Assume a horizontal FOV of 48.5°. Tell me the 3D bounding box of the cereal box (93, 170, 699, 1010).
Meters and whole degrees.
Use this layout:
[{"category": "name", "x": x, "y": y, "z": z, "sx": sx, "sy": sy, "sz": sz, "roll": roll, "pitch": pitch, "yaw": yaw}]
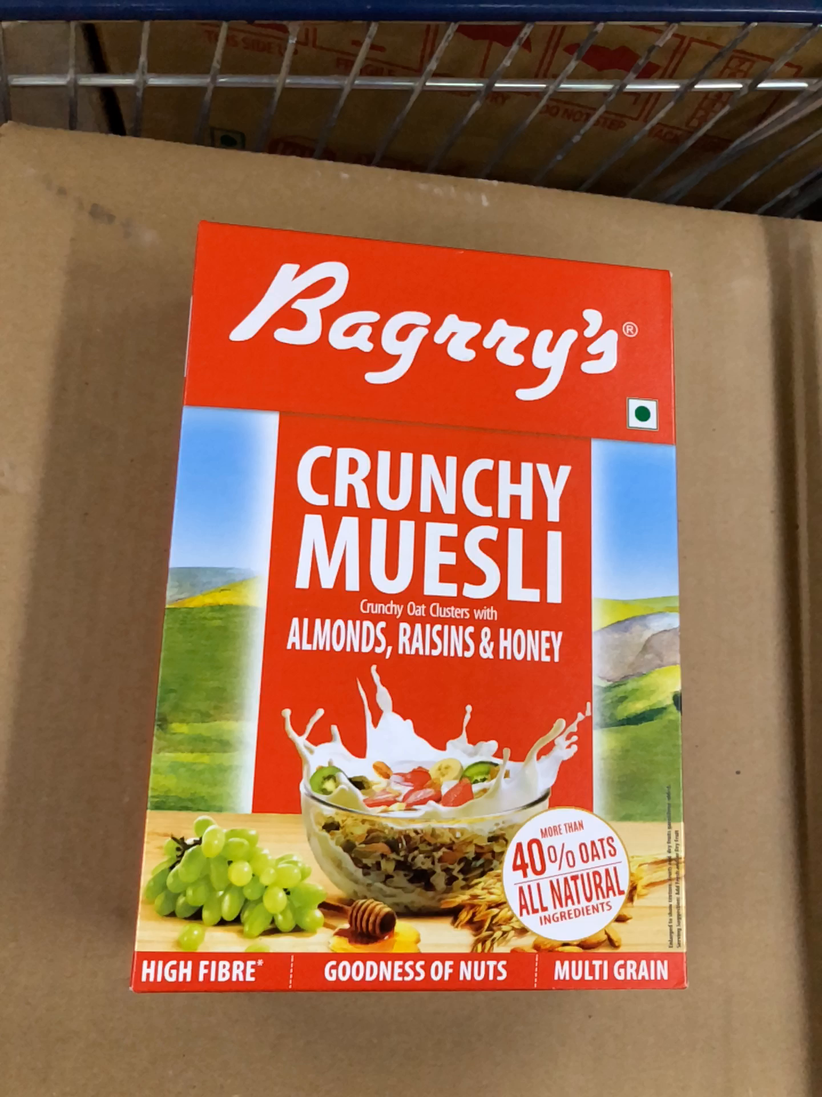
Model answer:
[{"category": "cereal box", "x": -0.001, "y": 0.013, "z": 0.325, "sx": 0.180, "sy": 0.070, "sz": 0.260, "roll": 3, "pitch": 80, "yaw": -6}]
